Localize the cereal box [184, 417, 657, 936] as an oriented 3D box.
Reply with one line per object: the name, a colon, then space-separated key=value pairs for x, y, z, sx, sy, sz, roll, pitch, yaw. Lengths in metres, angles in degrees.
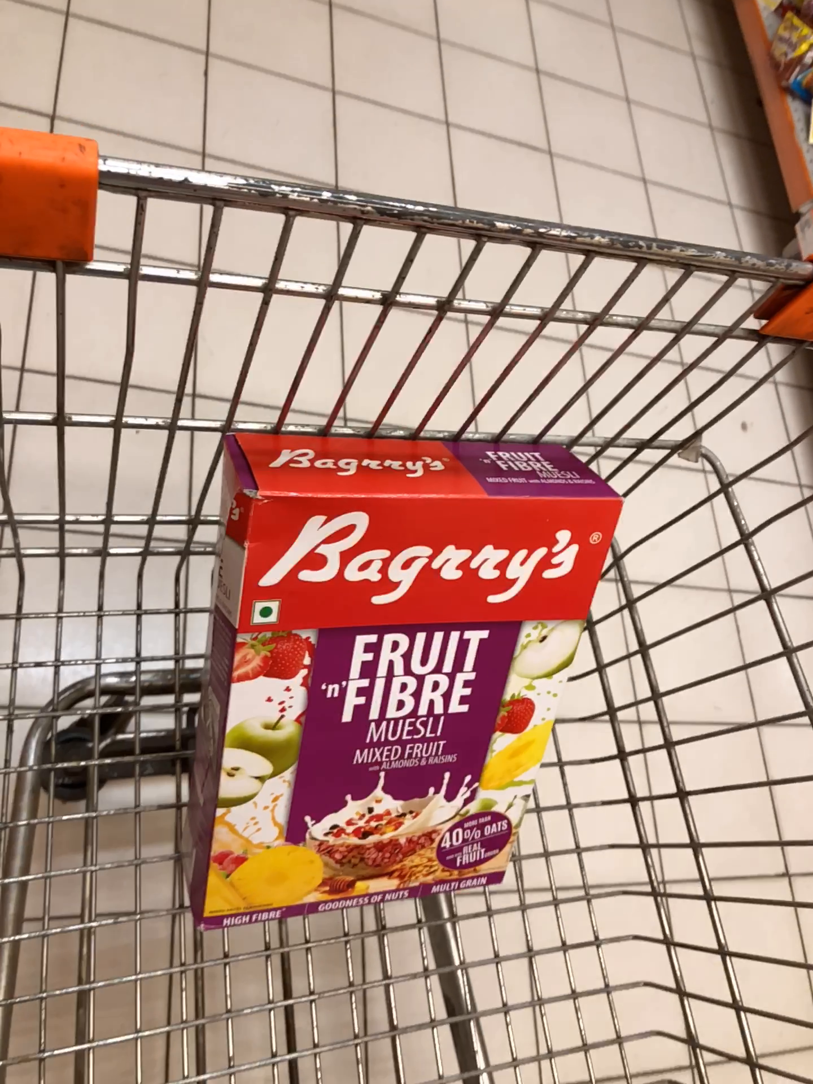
cereal box: x=-0.004 y=0.071 z=0.466 sx=0.190 sy=0.249 sz=0.070 roll=0 pitch=27 yaw=-23
